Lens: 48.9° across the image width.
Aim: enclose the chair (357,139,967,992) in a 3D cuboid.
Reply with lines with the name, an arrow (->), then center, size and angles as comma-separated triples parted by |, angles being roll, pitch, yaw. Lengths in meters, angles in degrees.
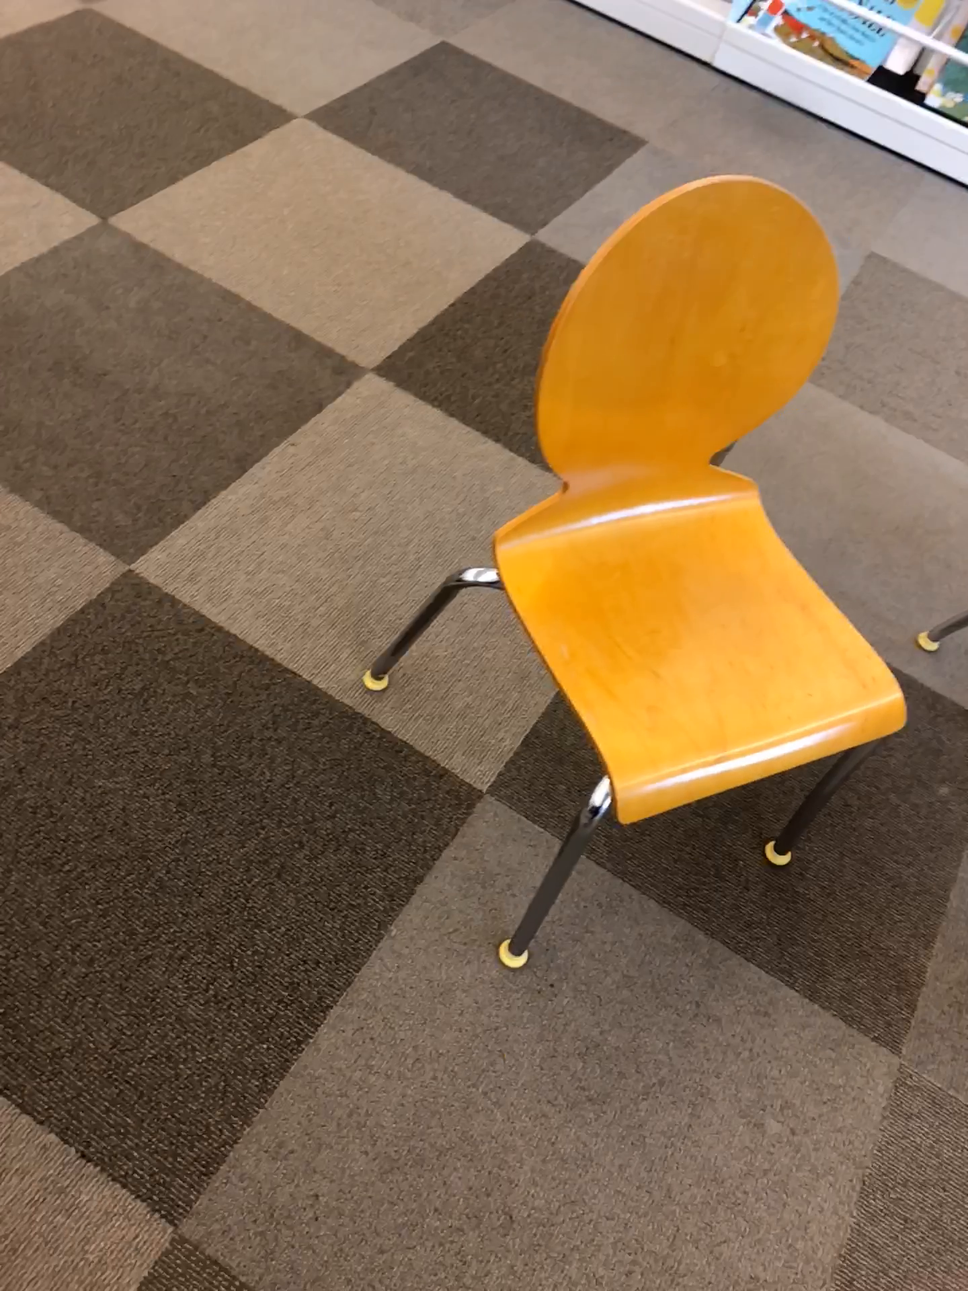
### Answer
chair -> 0.202, -0.058, 1.133 | 0.466, 0.723, 0.471 | -13, 57, -23
